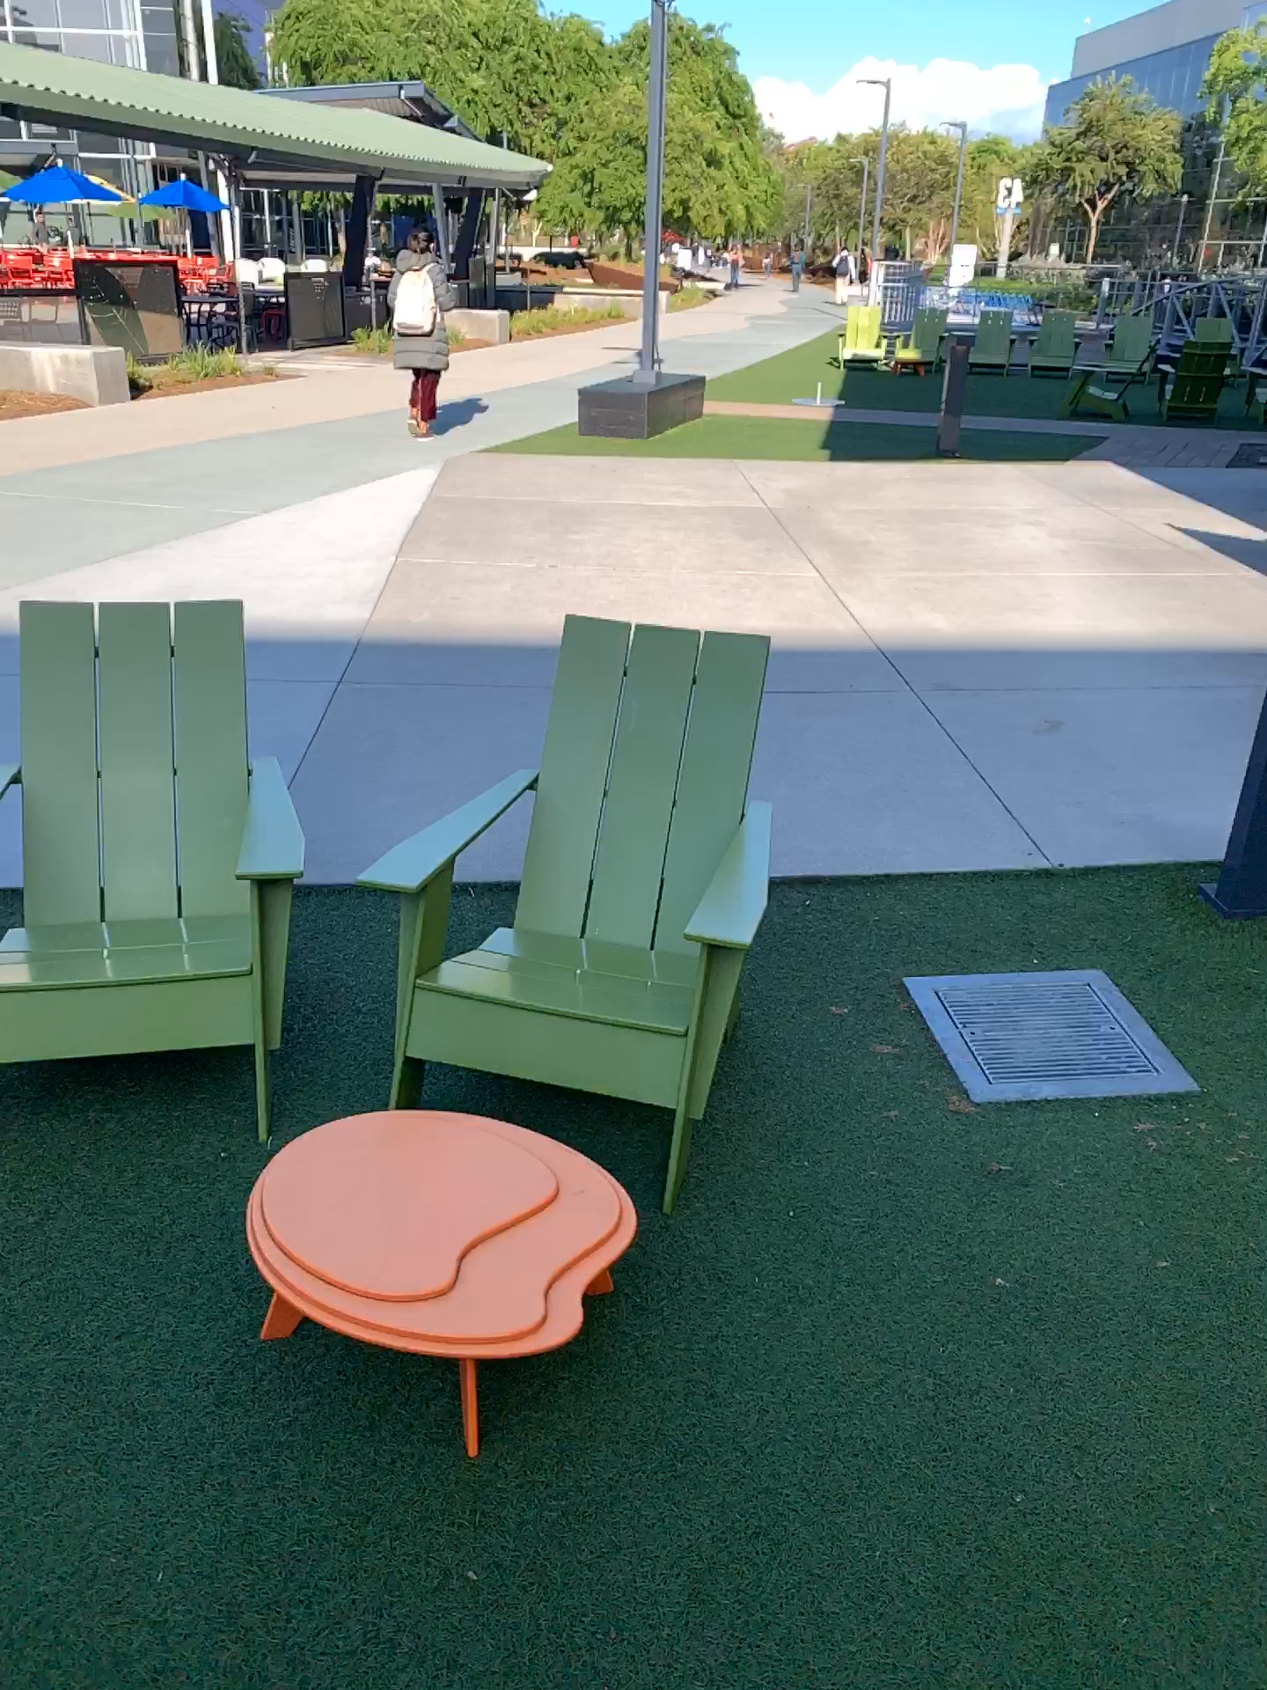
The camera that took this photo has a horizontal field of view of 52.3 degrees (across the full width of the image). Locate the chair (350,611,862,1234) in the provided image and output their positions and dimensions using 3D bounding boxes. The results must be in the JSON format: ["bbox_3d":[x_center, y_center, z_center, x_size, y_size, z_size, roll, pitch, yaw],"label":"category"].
[{"bbox_3d":[-0.014,0.085,2.621,0.711,0.856,0.854,10,26,18],"label":"chair"}]
